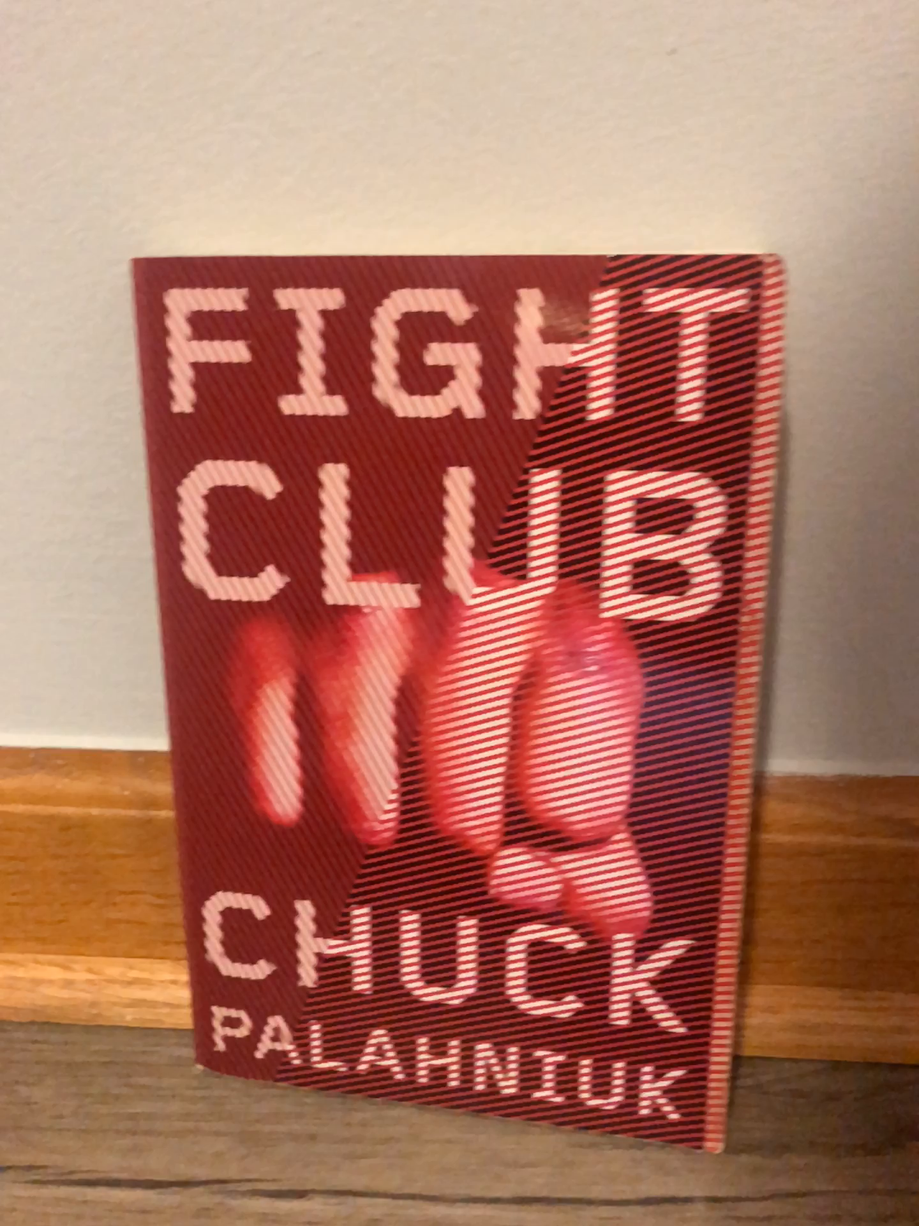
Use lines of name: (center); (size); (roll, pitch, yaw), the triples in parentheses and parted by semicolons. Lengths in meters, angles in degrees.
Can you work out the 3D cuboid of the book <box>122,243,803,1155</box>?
book: (-0.001, 0.023, 0.248); (0.138, 0.210, 0.030); (3, 16, 9)
